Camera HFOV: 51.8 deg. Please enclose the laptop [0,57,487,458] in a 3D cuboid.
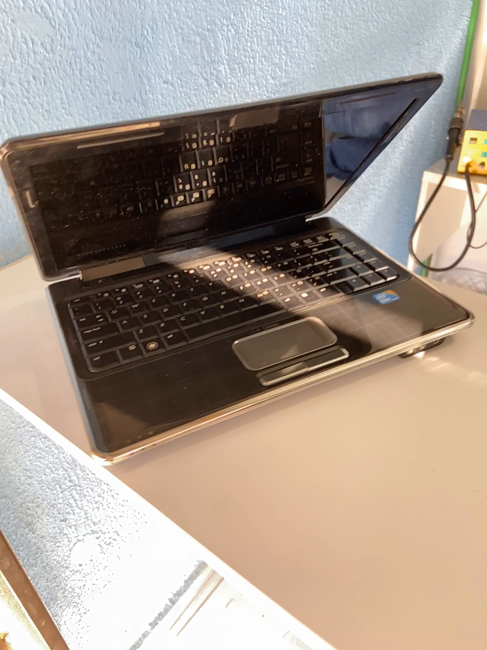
[{"bbox_3d":[0.001,-0.090,0.409,0.325,0.165,0.226,-17,40,-19],"label":"laptop"}]
